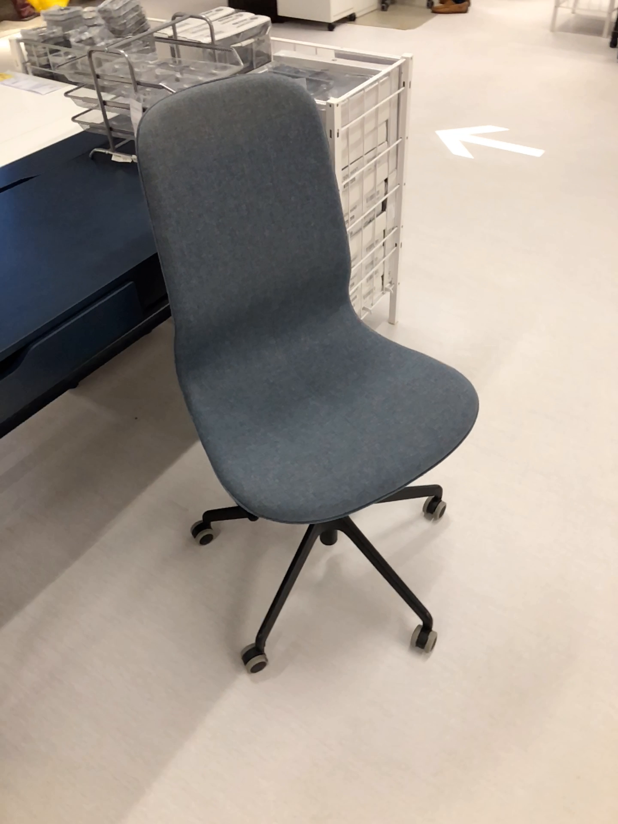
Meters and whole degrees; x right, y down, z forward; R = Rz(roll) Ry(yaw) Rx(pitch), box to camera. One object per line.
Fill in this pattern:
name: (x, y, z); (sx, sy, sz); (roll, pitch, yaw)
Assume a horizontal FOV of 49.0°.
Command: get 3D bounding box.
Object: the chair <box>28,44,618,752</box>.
chair: (0.037, -0.037, 1.259); (0.641, 0.934, 0.683); (-24, 47, -21)
